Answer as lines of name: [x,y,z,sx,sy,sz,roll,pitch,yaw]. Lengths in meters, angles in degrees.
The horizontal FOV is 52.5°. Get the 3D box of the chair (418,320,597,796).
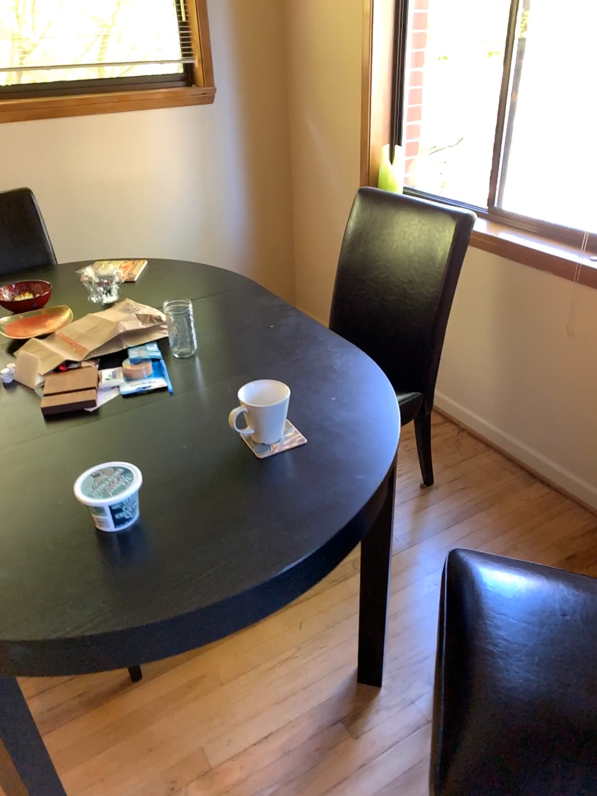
chair: [0.586,0.516,1.016,0.650,1.083,0.624,5,32,12]
